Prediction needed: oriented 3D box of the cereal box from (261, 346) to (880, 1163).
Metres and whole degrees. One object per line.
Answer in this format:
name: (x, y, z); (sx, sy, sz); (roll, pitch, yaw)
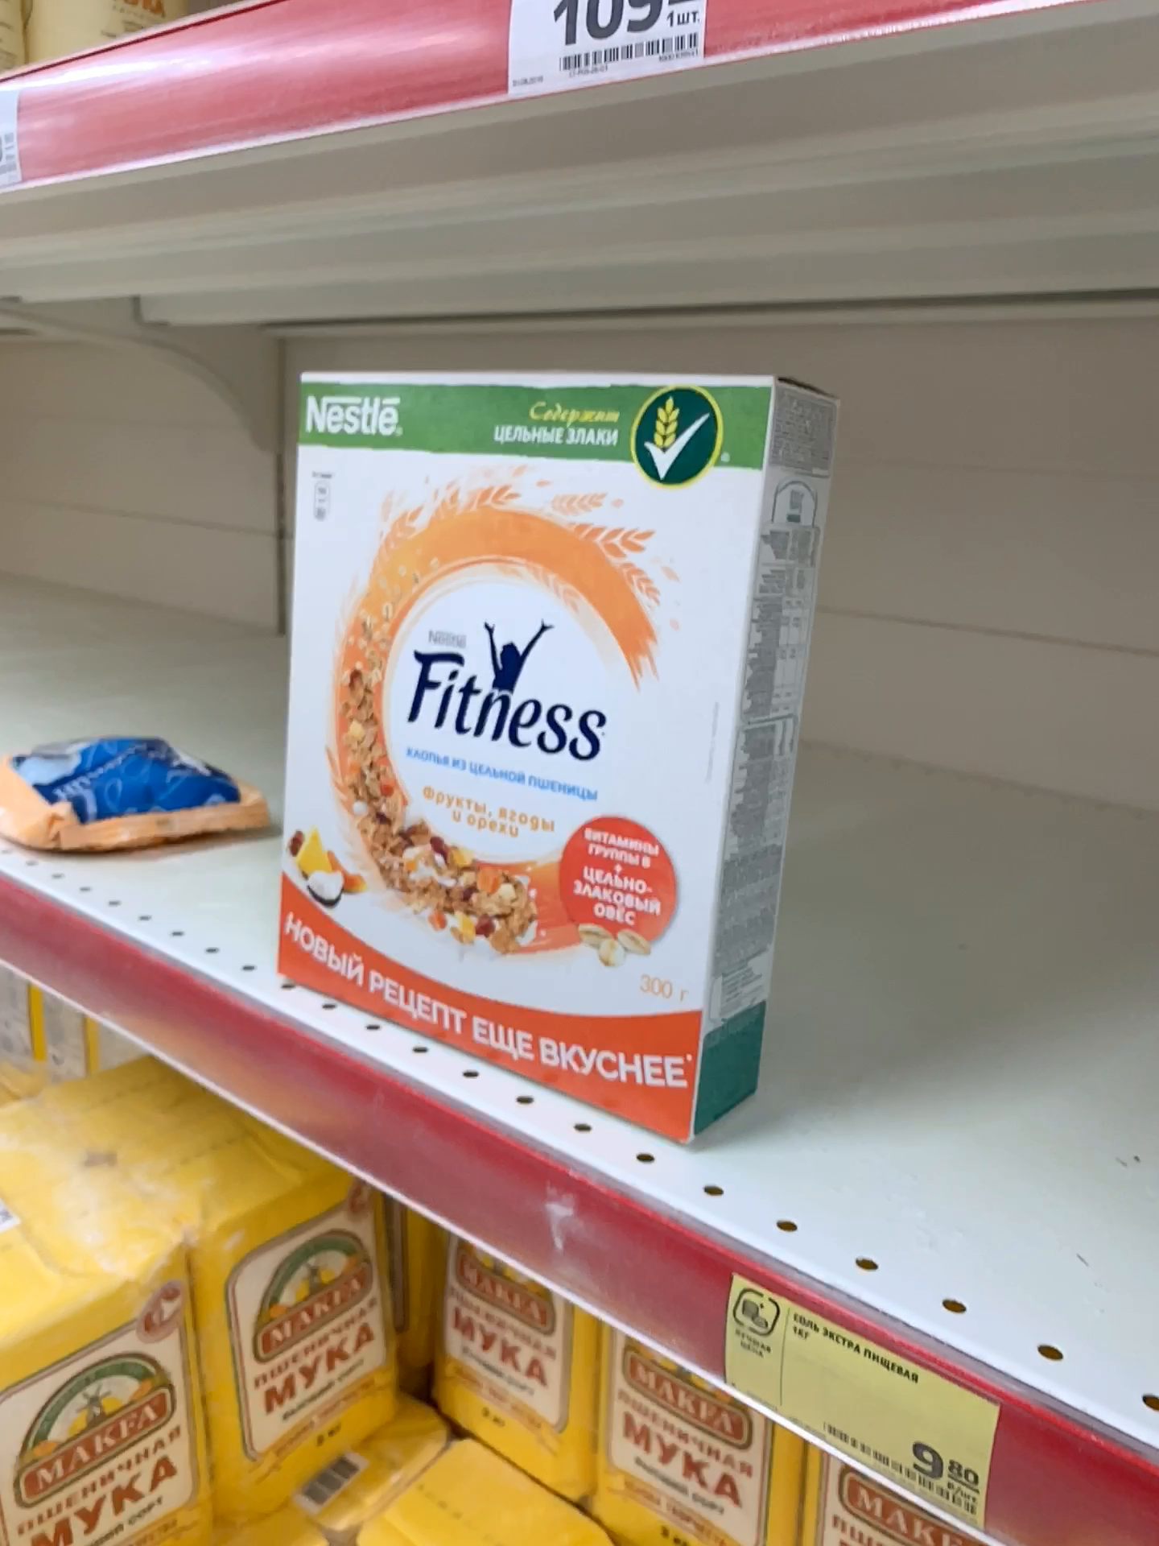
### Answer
cereal box: (-0.017, -0.021, 0.429); (0.200, 0.239, 0.060); (13, 12, 35)
